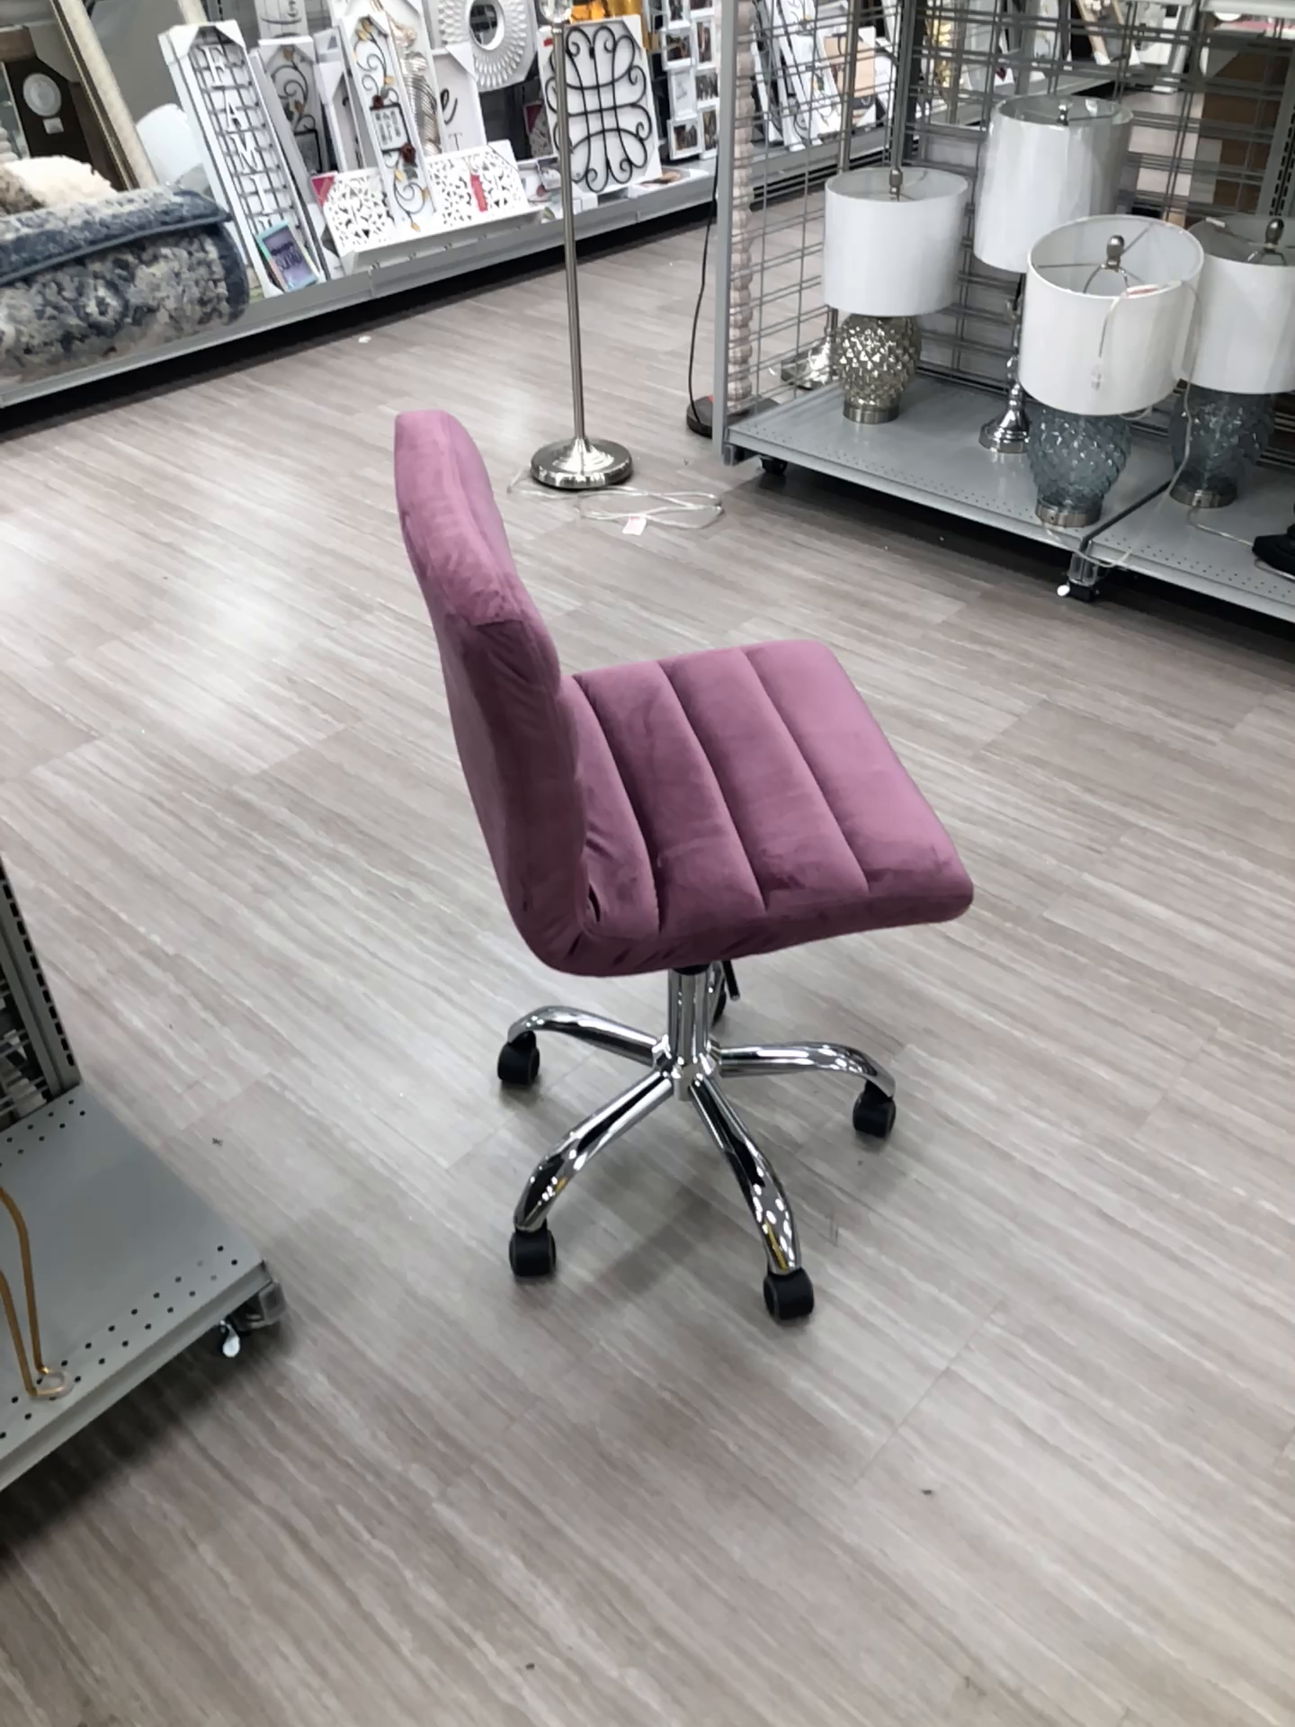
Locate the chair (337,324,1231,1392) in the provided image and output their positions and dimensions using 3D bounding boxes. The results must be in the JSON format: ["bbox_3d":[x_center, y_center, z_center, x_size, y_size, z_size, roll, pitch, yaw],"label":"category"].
[{"bbox_3d":[0.068,-0.026,1.434,0.577,0.800,0.590,-11,38,-14],"label":"chair"}]
